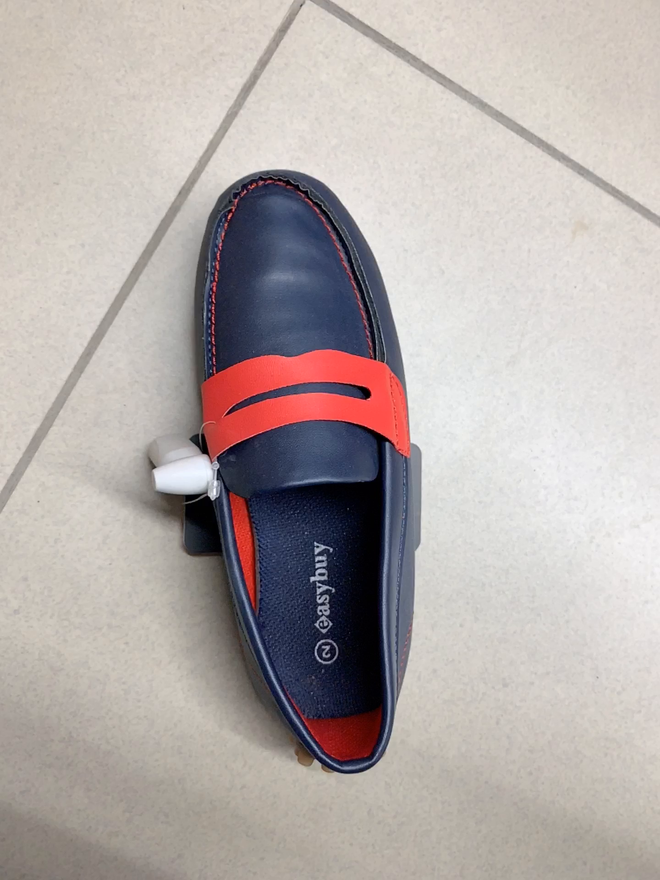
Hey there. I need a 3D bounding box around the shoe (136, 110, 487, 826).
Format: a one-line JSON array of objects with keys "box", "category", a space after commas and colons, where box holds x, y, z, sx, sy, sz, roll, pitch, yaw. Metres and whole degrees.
[{"box": [-0.009, 0.004, 0.224, 0.080, 0.050, 0.200, -6, 88, -12], "category": "shoe"}]
